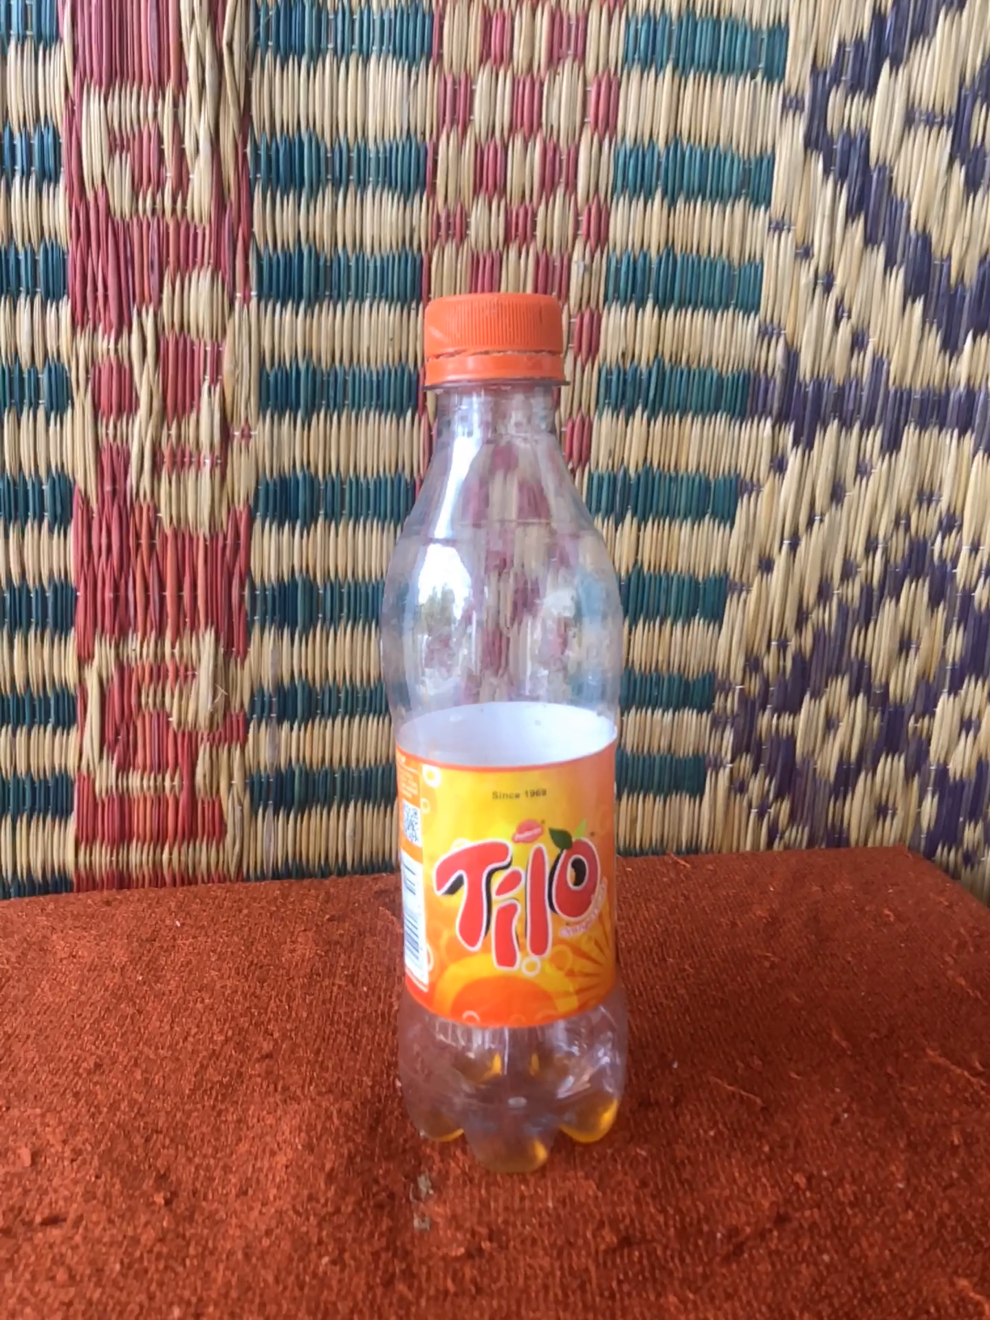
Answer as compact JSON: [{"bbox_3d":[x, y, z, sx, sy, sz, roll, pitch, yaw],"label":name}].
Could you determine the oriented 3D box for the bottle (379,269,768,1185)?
[{"bbox_3d":[0.011,0.016,0.243,0.070,0.189,0.050,0,15,-5],"label":"bottle"}]
